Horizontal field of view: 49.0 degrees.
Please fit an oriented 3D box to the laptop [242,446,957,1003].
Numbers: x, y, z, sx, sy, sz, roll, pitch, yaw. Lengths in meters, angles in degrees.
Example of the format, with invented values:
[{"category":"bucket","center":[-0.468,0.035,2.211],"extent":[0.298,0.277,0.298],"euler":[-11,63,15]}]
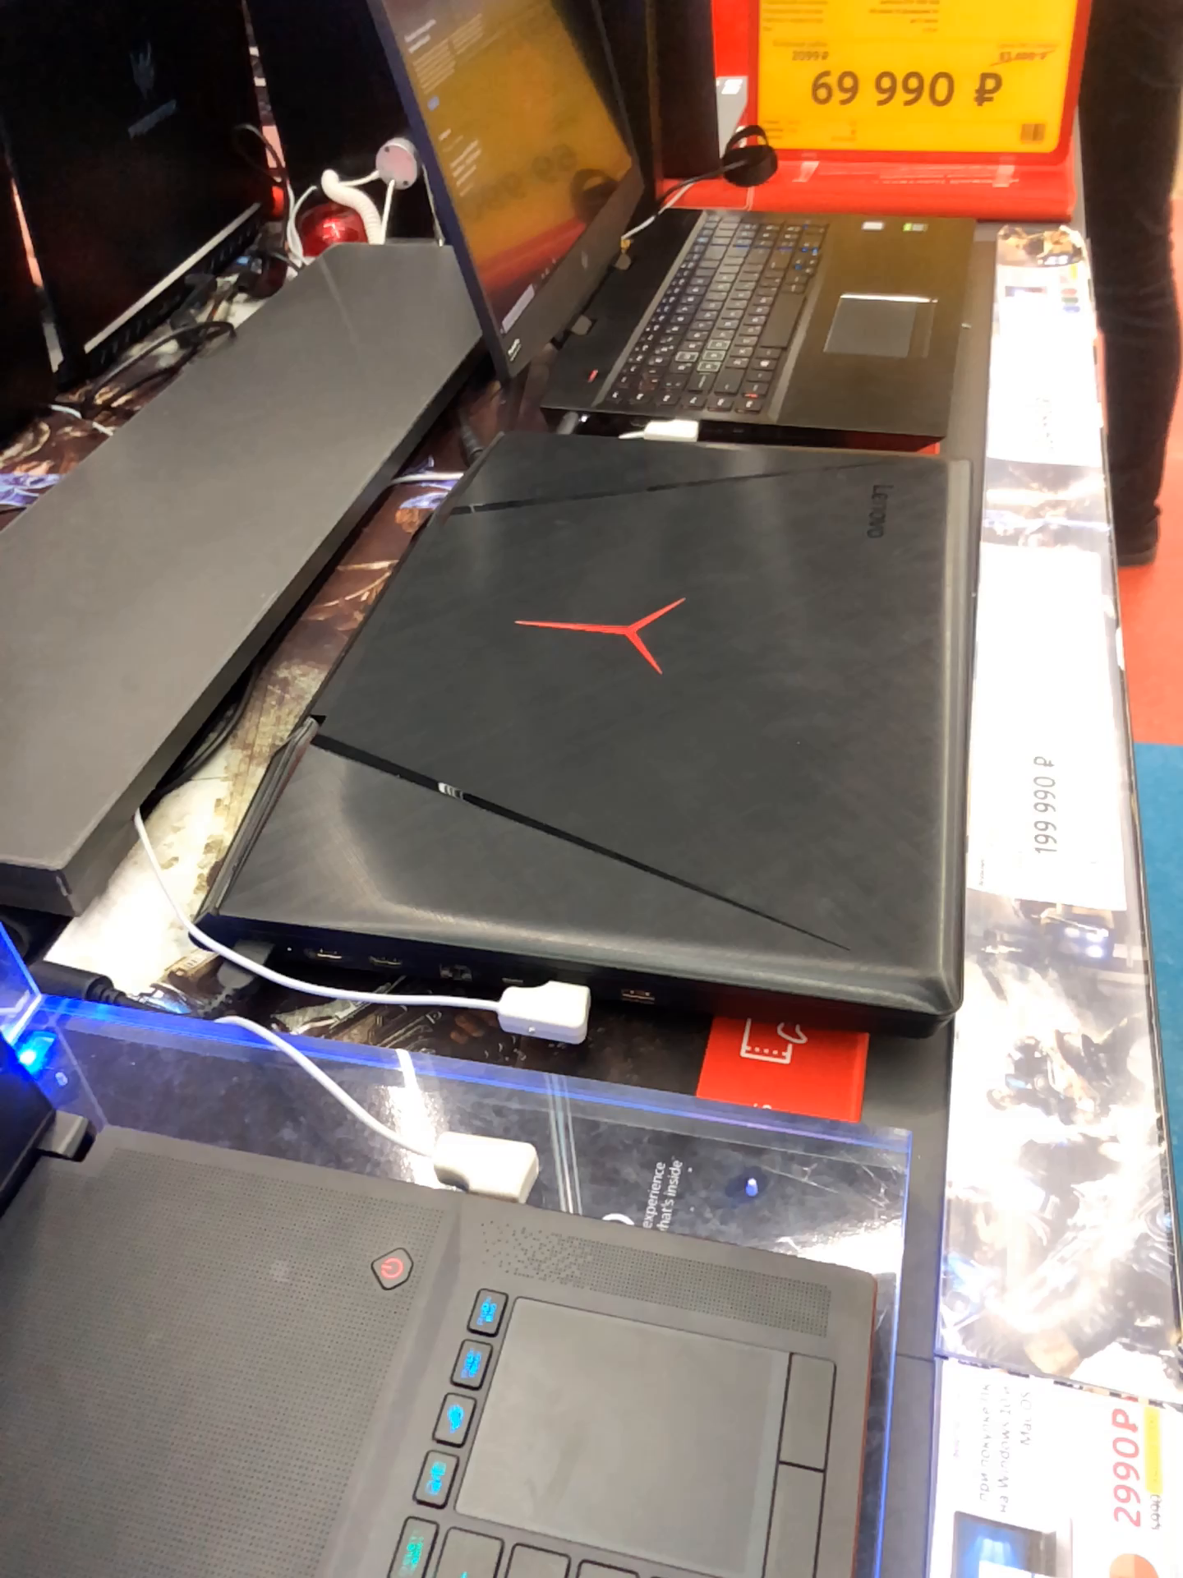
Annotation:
[{"category":"laptop","center":[0.034,-0.068,0.630],"extent":[0.269,0.005,0.401],"euler":[5,41,10]}]
